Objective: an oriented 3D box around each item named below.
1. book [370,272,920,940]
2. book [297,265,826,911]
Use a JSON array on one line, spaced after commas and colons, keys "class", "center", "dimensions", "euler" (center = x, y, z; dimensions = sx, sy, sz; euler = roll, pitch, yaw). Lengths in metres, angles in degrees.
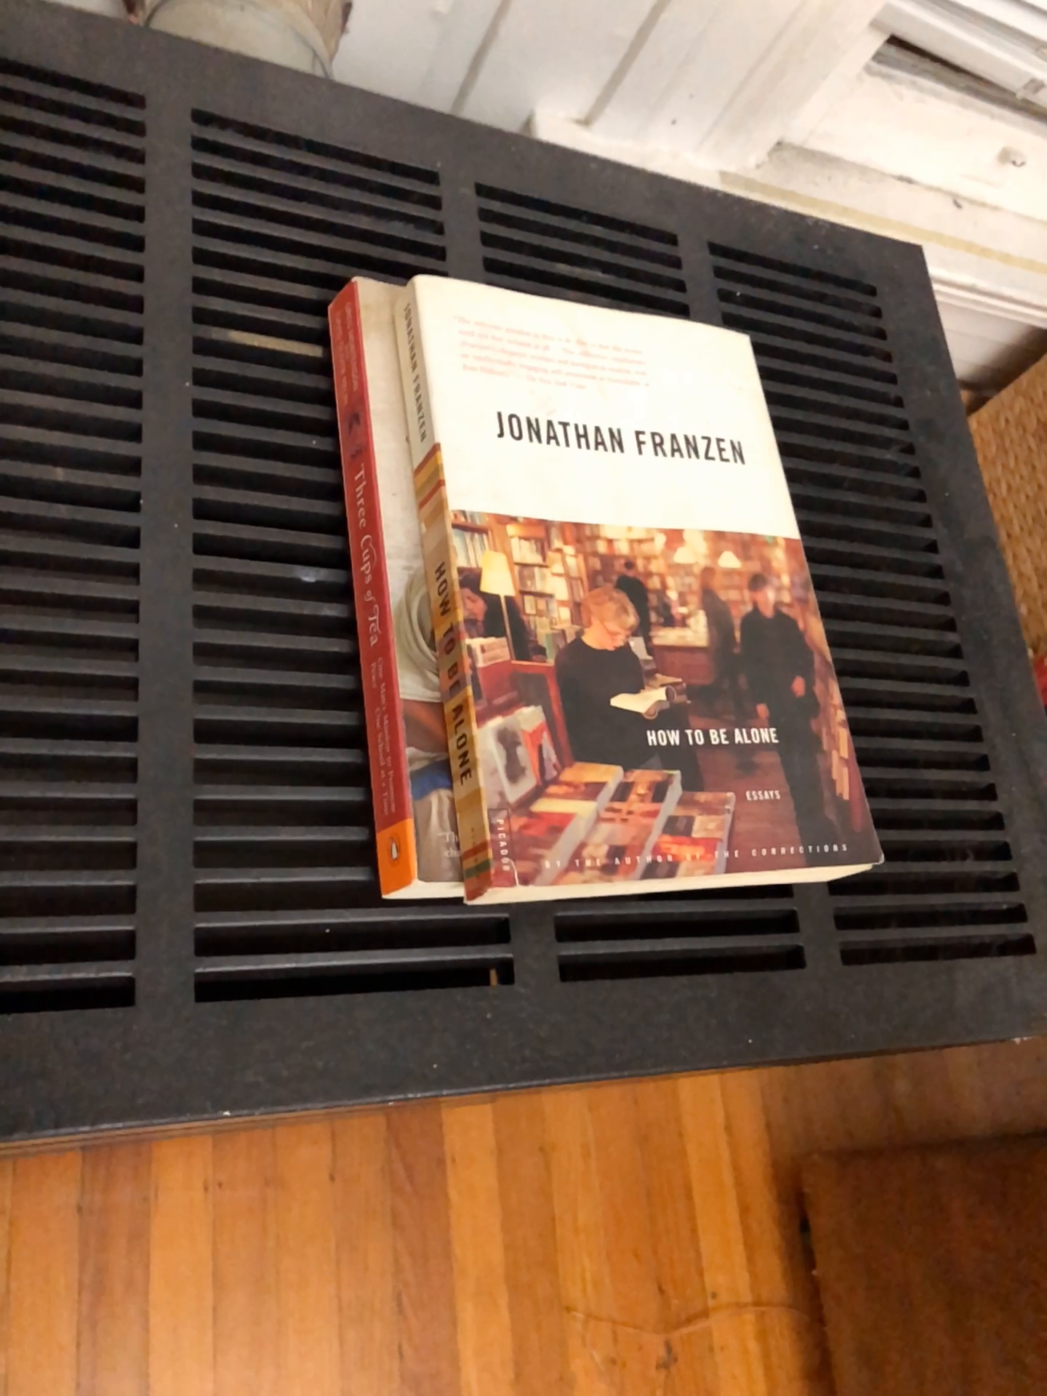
[{"class": "book", "center": [0.037, -0.035, 0.386], "dimensions": [0.150, 0.030, 0.210], "euler": [0, 69, -26]}, {"class": "book", "center": [0.010, -0.041, 0.397], "dimensions": [0.150, 0.030, 0.210], "euler": [0, 69, -26]}]
